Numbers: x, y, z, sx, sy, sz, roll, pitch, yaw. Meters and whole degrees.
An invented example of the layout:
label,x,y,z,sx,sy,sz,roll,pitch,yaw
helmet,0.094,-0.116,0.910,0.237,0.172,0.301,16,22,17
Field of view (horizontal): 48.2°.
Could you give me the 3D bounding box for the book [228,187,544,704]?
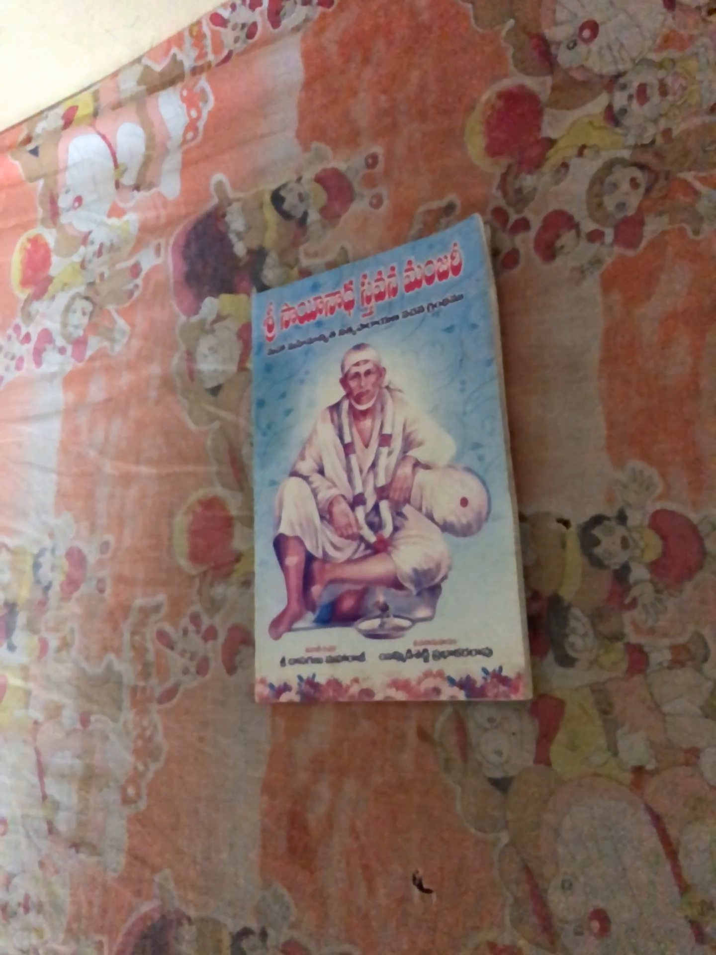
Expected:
label,x,y,z,sx,sy,sz,roll,pitch,yaw
book,0.004,-0.009,0.374,0.140,0.020,0.220,-9,78,27
